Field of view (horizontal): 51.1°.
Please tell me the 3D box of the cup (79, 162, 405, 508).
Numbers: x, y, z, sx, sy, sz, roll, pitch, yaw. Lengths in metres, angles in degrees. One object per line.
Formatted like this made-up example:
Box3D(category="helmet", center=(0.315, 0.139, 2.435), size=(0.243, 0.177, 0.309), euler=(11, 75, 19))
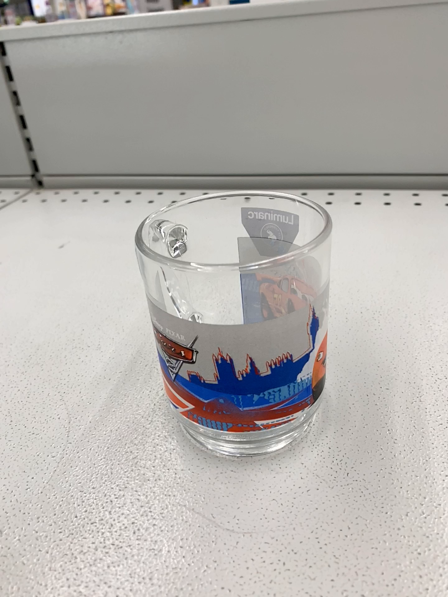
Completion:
Box3D(category="cup", center=(0.002, 0.003, 0.188), size=(0.072, 0.081, 0.102), euler=(-22, 34, -26))
